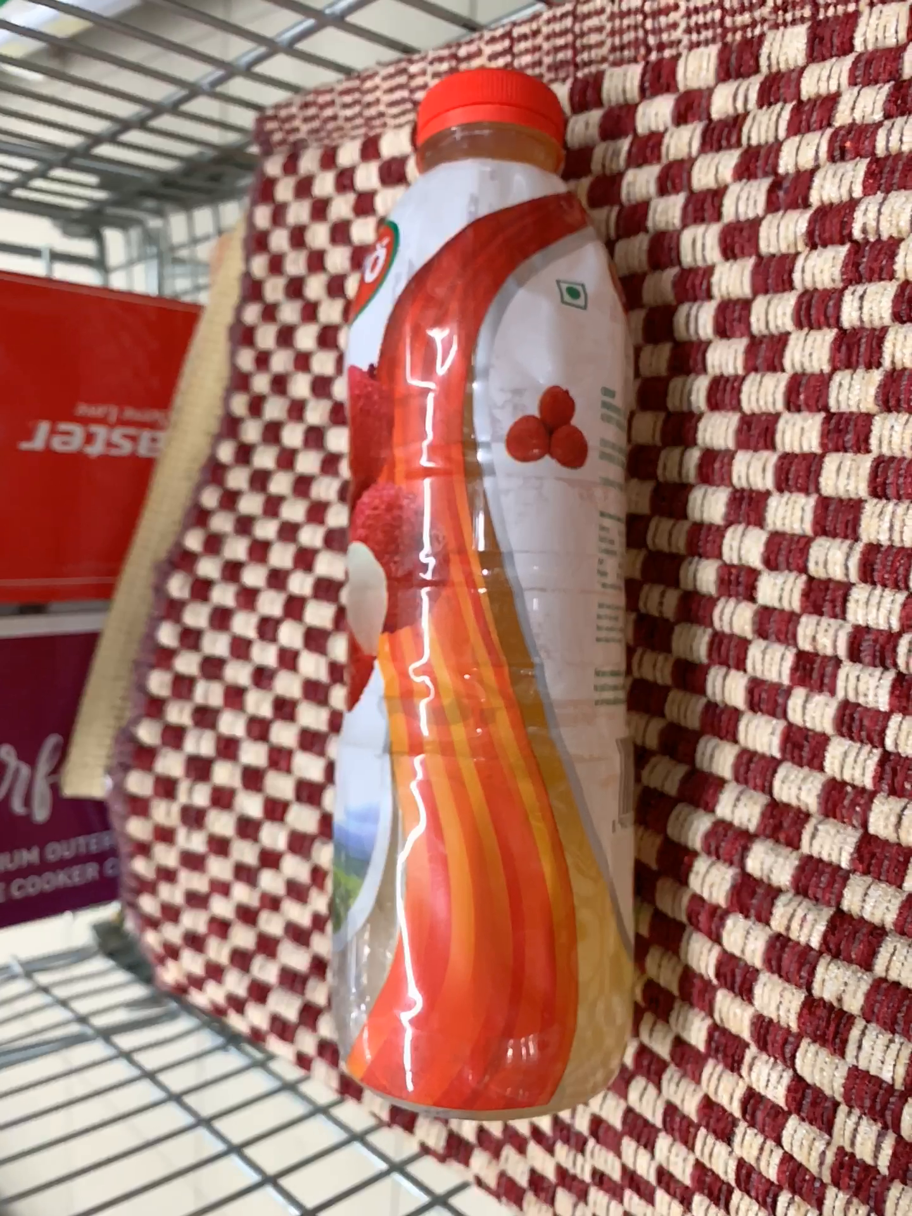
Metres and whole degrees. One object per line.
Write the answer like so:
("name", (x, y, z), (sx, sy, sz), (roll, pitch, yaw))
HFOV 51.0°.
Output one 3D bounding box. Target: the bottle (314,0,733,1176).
("bottle", (0.015, -0.009, 0.224), (0.080, 0.070, 0.240), (-1, 90, 4))
